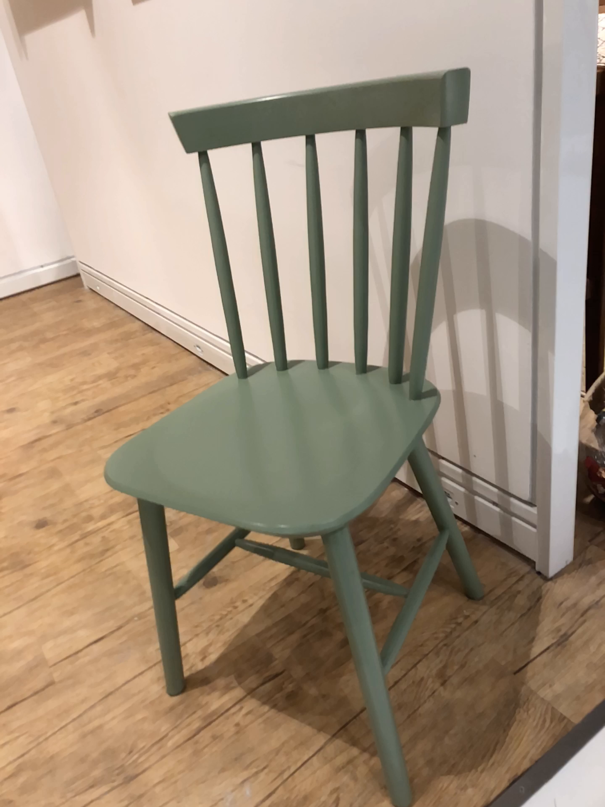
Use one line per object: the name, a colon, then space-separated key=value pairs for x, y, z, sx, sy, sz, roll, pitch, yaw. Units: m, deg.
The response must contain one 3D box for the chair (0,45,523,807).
chair: x=-0.002 y=0.008 z=0.938 sx=0.471 sy=0.814 sz=0.523 roll=9 pitch=34 yaw=32
